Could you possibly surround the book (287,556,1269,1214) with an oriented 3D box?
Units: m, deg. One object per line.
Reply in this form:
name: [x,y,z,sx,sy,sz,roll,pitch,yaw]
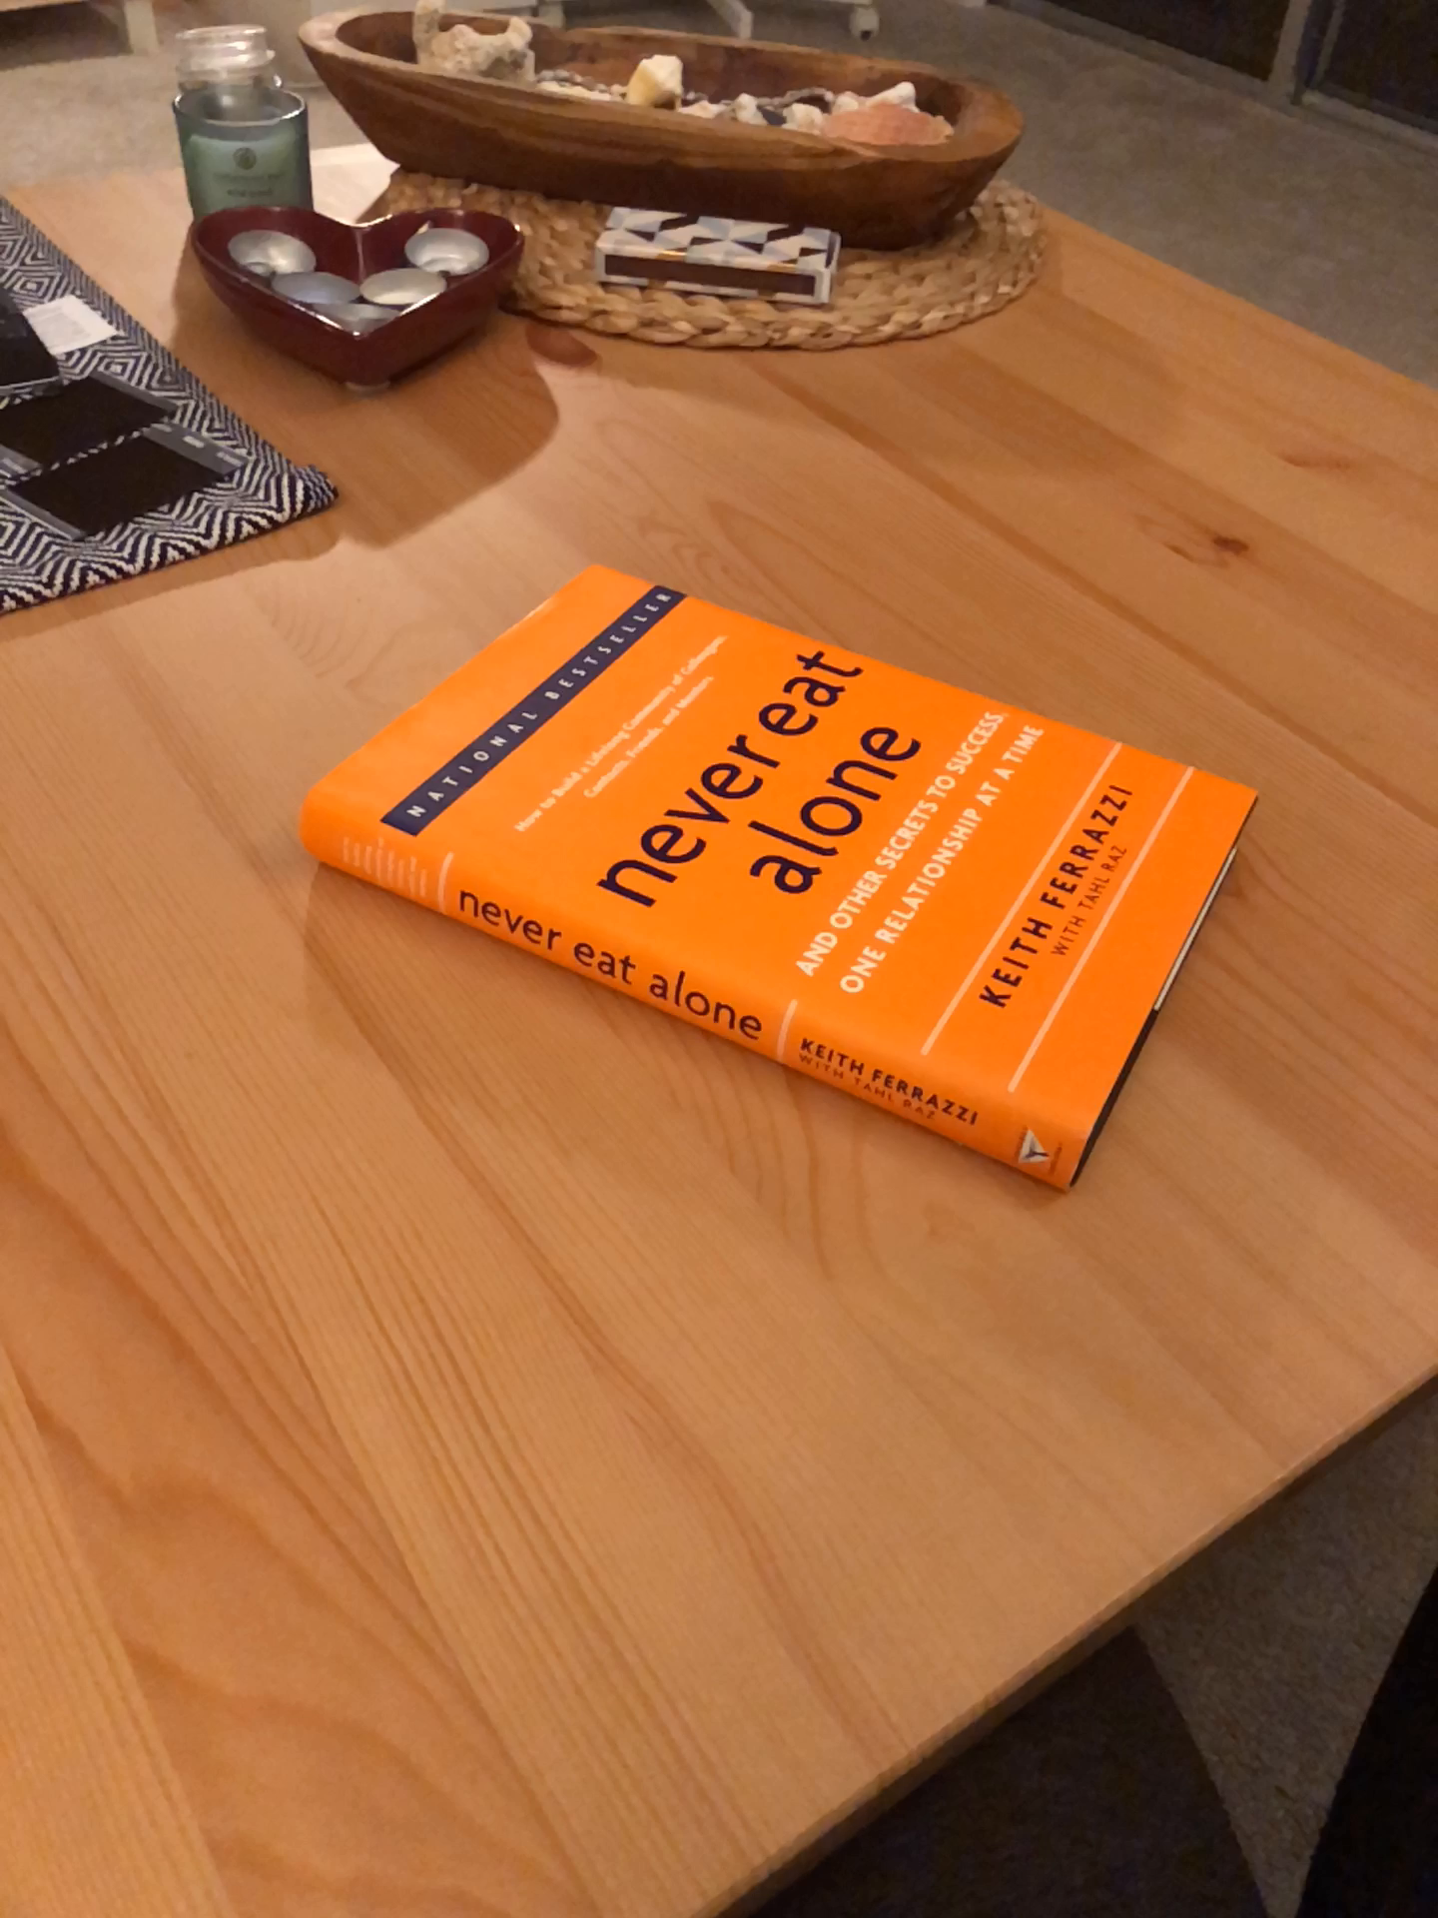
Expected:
book: [0.022,-0.040,0.474,0.240,0.025,0.167,23,46,18]
